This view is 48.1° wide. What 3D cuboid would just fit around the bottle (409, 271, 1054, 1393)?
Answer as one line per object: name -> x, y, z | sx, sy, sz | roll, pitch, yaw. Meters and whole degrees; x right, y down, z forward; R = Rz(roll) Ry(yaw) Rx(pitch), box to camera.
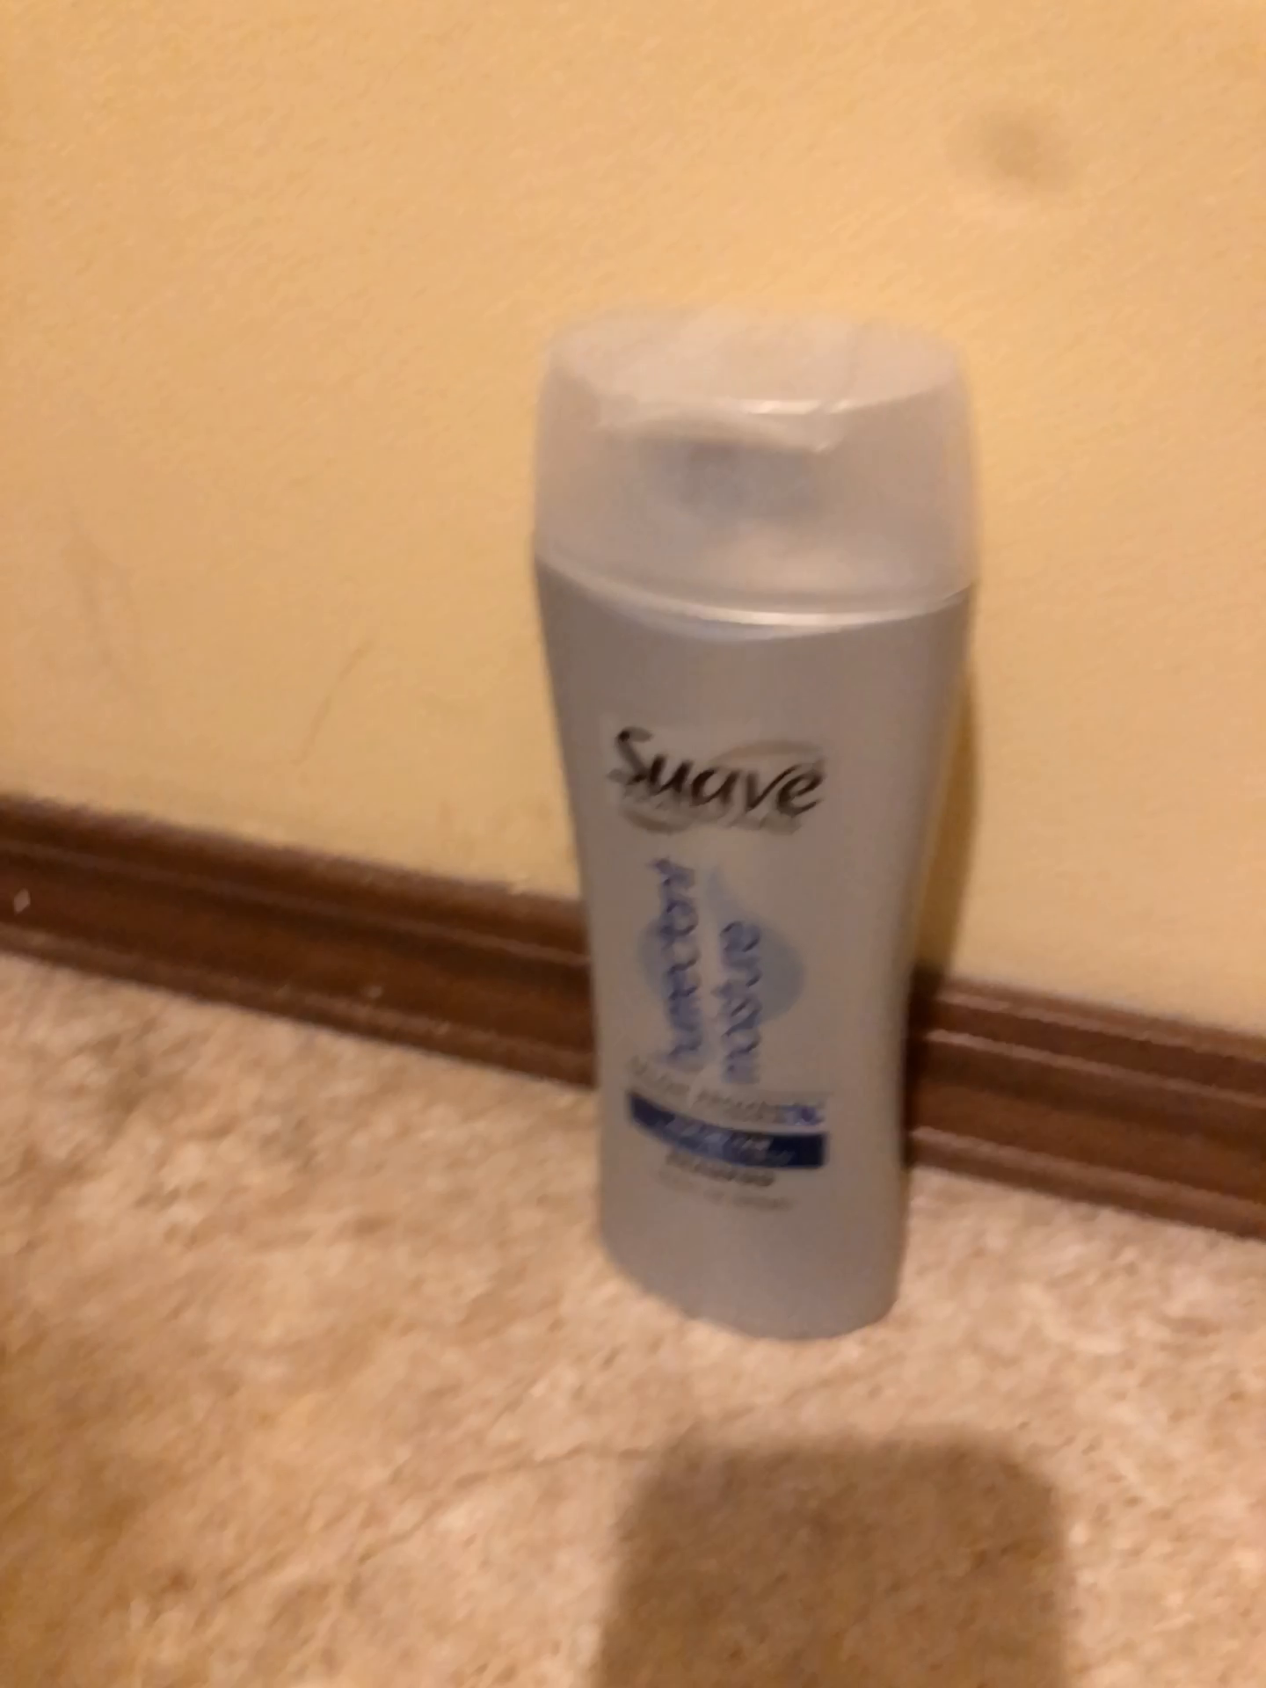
bottle -> 0.020, 0.012, 0.263 | 0.080, 0.209, 0.050 | 9, 40, 15
